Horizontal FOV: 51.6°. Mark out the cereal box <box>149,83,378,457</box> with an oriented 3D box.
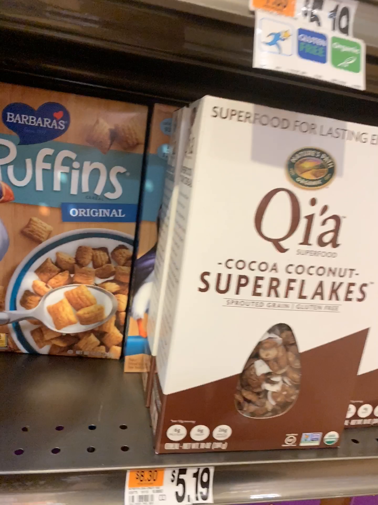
[{"bbox_3d":[0.067,0.024,0.307,0.160,0.259,0.060,5,13,-14],"label":"cereal box"}]
